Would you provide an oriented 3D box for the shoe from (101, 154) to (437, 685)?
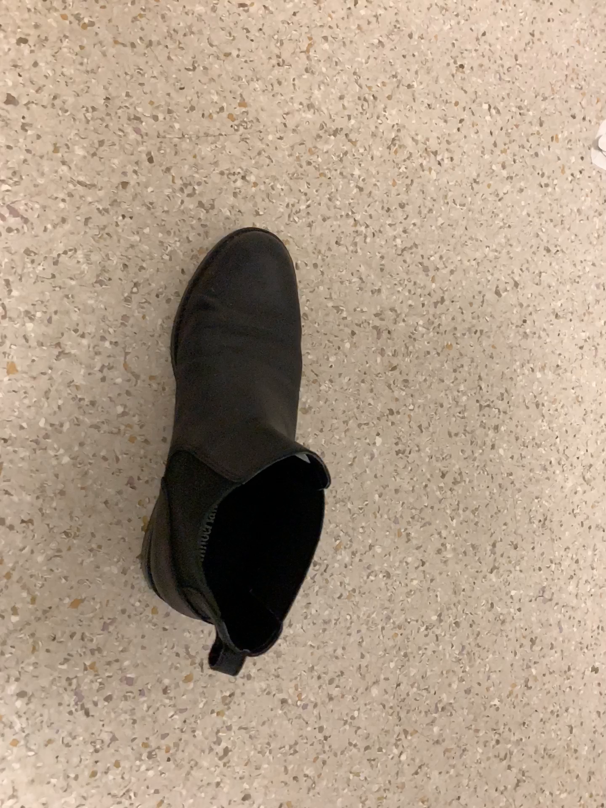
[{"bbox_3d":[-0.031,0.012,0.400,0.107,0.164,0.262,16,81,-24],"label":"shoe"}]
